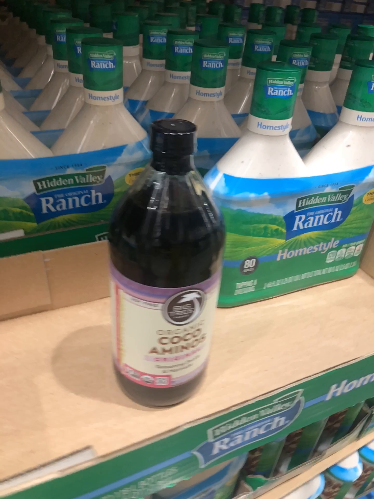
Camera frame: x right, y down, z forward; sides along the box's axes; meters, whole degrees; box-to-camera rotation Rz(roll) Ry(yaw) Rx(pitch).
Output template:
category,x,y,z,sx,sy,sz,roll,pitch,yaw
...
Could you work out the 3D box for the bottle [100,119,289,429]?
category,x,y,z,sx,sy,sz,roll,pitch,yaw
bottle,-0.009,0.025,0.334,0.100,0.229,0.090,-7,36,-17
